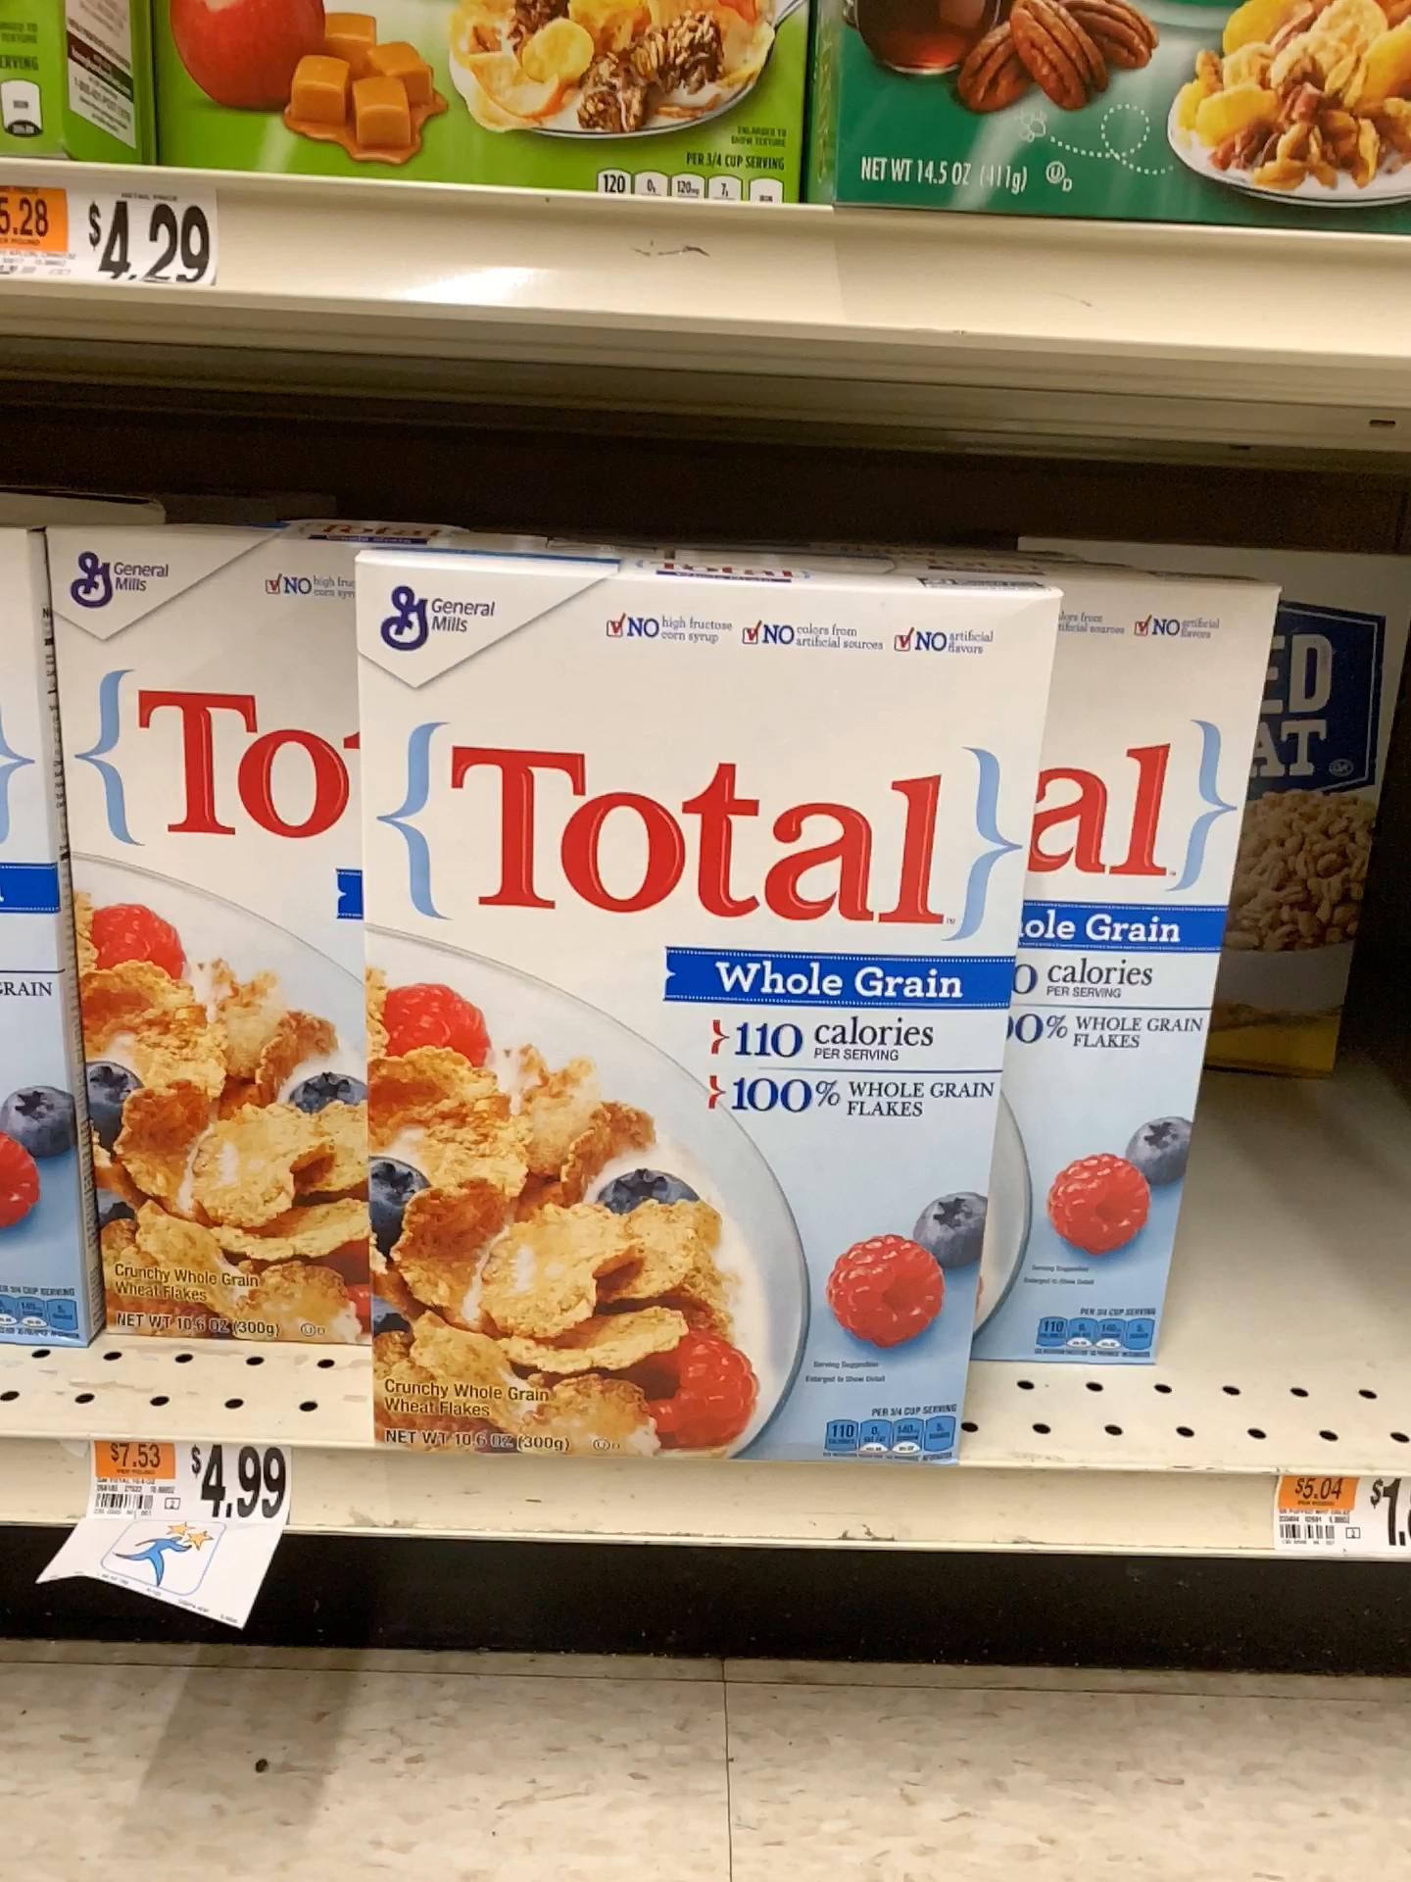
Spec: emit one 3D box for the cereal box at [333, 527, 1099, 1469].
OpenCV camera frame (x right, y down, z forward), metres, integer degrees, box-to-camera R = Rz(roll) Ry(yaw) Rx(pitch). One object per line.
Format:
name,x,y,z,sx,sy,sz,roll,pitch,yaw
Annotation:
cereal box,-0.004,0.024,0.443,0.200,0.279,0.050,3,18,-1
